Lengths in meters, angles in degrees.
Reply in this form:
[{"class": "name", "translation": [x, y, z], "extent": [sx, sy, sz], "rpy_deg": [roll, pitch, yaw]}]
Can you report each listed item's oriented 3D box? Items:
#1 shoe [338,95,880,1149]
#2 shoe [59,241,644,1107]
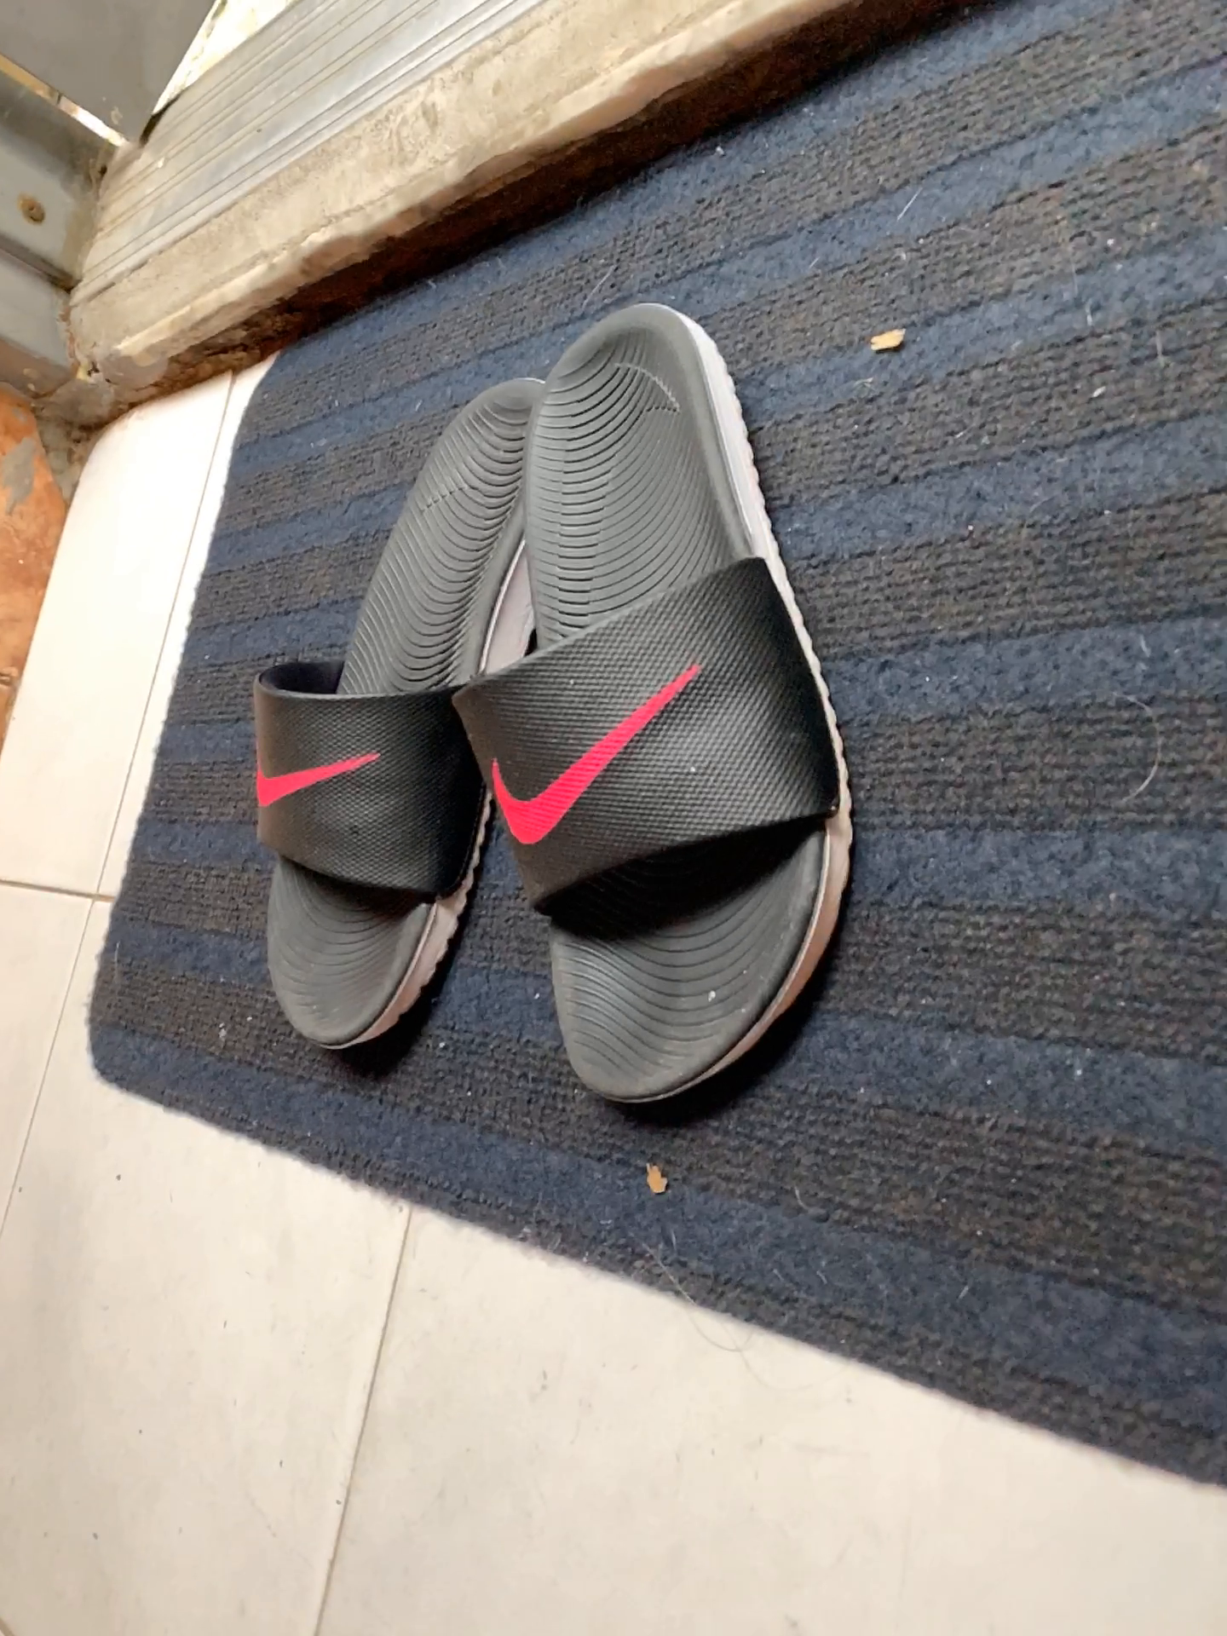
[{"class": "shoe", "translation": [-0.003, -0.048, 0.336], "extent": [0.099, 0.078, 0.251], "rpy_deg": [-19, 62, 39]}, {"class": "shoe", "translation": [-0.087, -0.046, 0.416], "extent": [0.099, 0.078, 0.251], "rpy_deg": [14, 84, 46]}]
